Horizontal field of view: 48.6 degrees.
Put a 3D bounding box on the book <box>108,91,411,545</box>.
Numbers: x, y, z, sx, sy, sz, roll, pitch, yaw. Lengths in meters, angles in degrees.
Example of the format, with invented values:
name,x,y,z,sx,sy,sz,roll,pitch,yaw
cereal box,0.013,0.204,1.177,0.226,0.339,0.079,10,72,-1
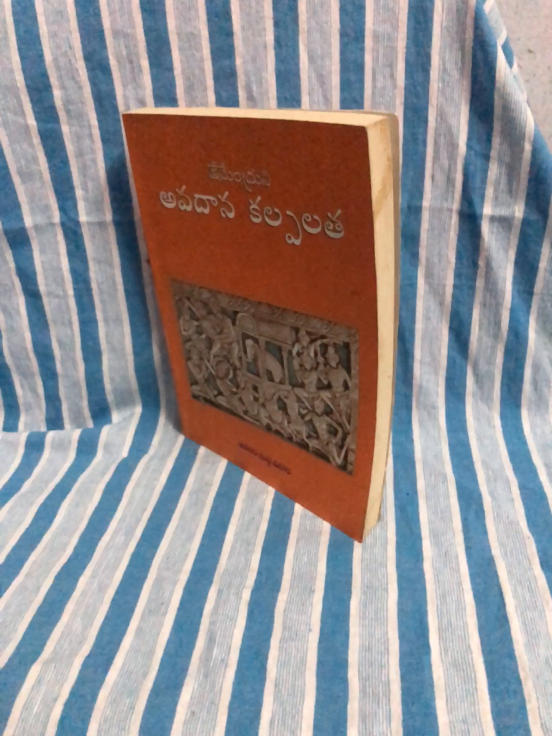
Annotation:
name,x,y,z,sx,sy,sz,roll,pitch,yaw
book,-0.013,-0.033,0.356,0.180,0.229,0.030,22,38,38
